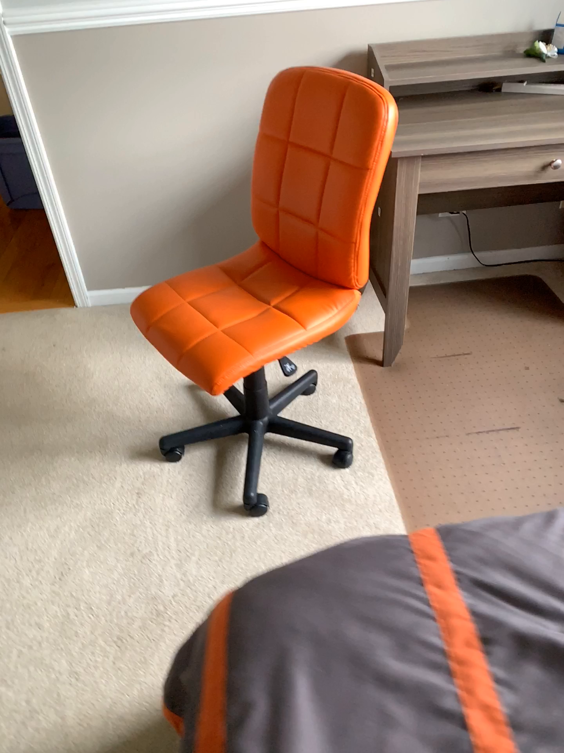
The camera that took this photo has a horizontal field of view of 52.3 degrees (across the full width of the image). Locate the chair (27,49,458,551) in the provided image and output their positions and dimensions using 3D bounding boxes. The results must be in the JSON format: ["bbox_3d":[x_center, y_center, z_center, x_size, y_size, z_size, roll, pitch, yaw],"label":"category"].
[{"bbox_3d":[-0.079,-0.211,1.419,0.618,0.901,0.617,-27,45,-27],"label":"chair"}]
